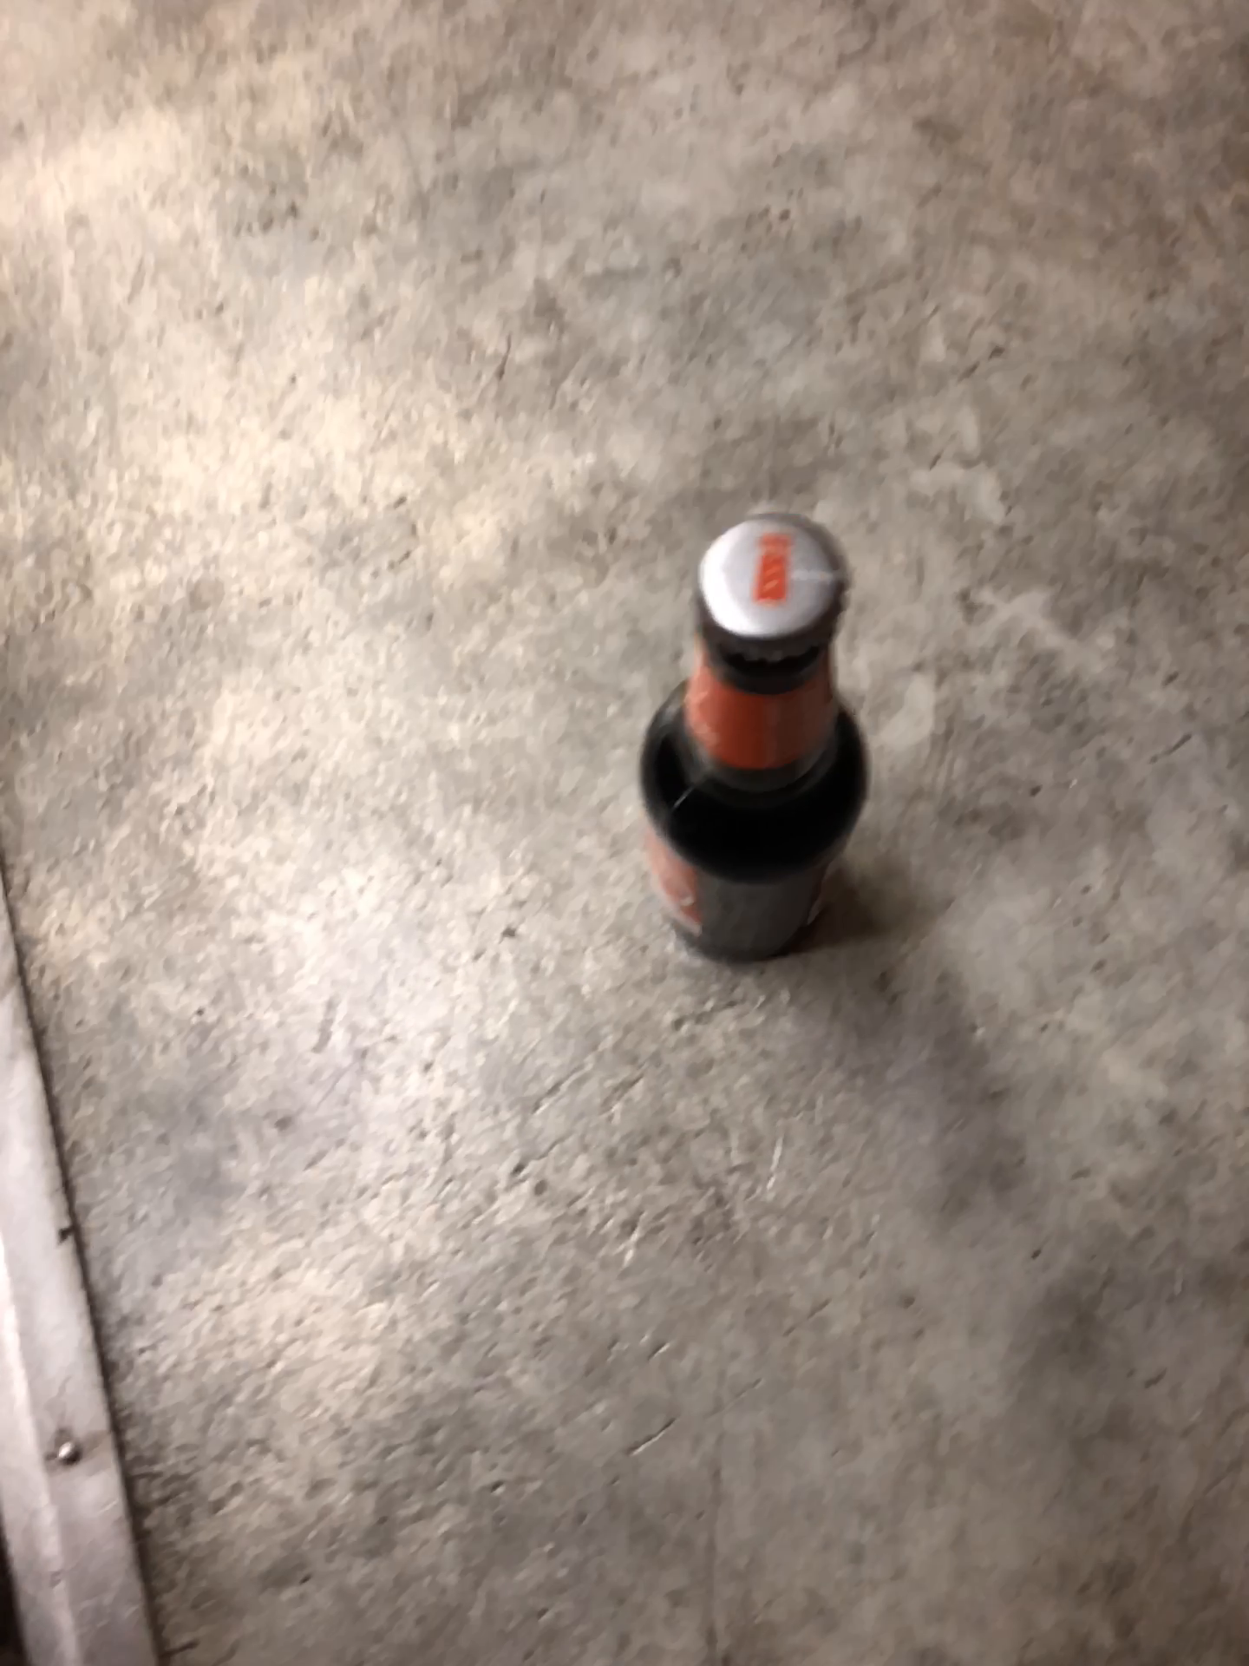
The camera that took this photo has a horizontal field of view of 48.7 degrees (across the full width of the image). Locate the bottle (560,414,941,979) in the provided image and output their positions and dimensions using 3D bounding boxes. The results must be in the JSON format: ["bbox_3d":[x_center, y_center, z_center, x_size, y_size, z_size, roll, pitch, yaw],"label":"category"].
[{"bbox_3d":[0.029,-0.015,0.348,0.060,0.221,0.059,-1,74,3],"label":"bottle"}]
